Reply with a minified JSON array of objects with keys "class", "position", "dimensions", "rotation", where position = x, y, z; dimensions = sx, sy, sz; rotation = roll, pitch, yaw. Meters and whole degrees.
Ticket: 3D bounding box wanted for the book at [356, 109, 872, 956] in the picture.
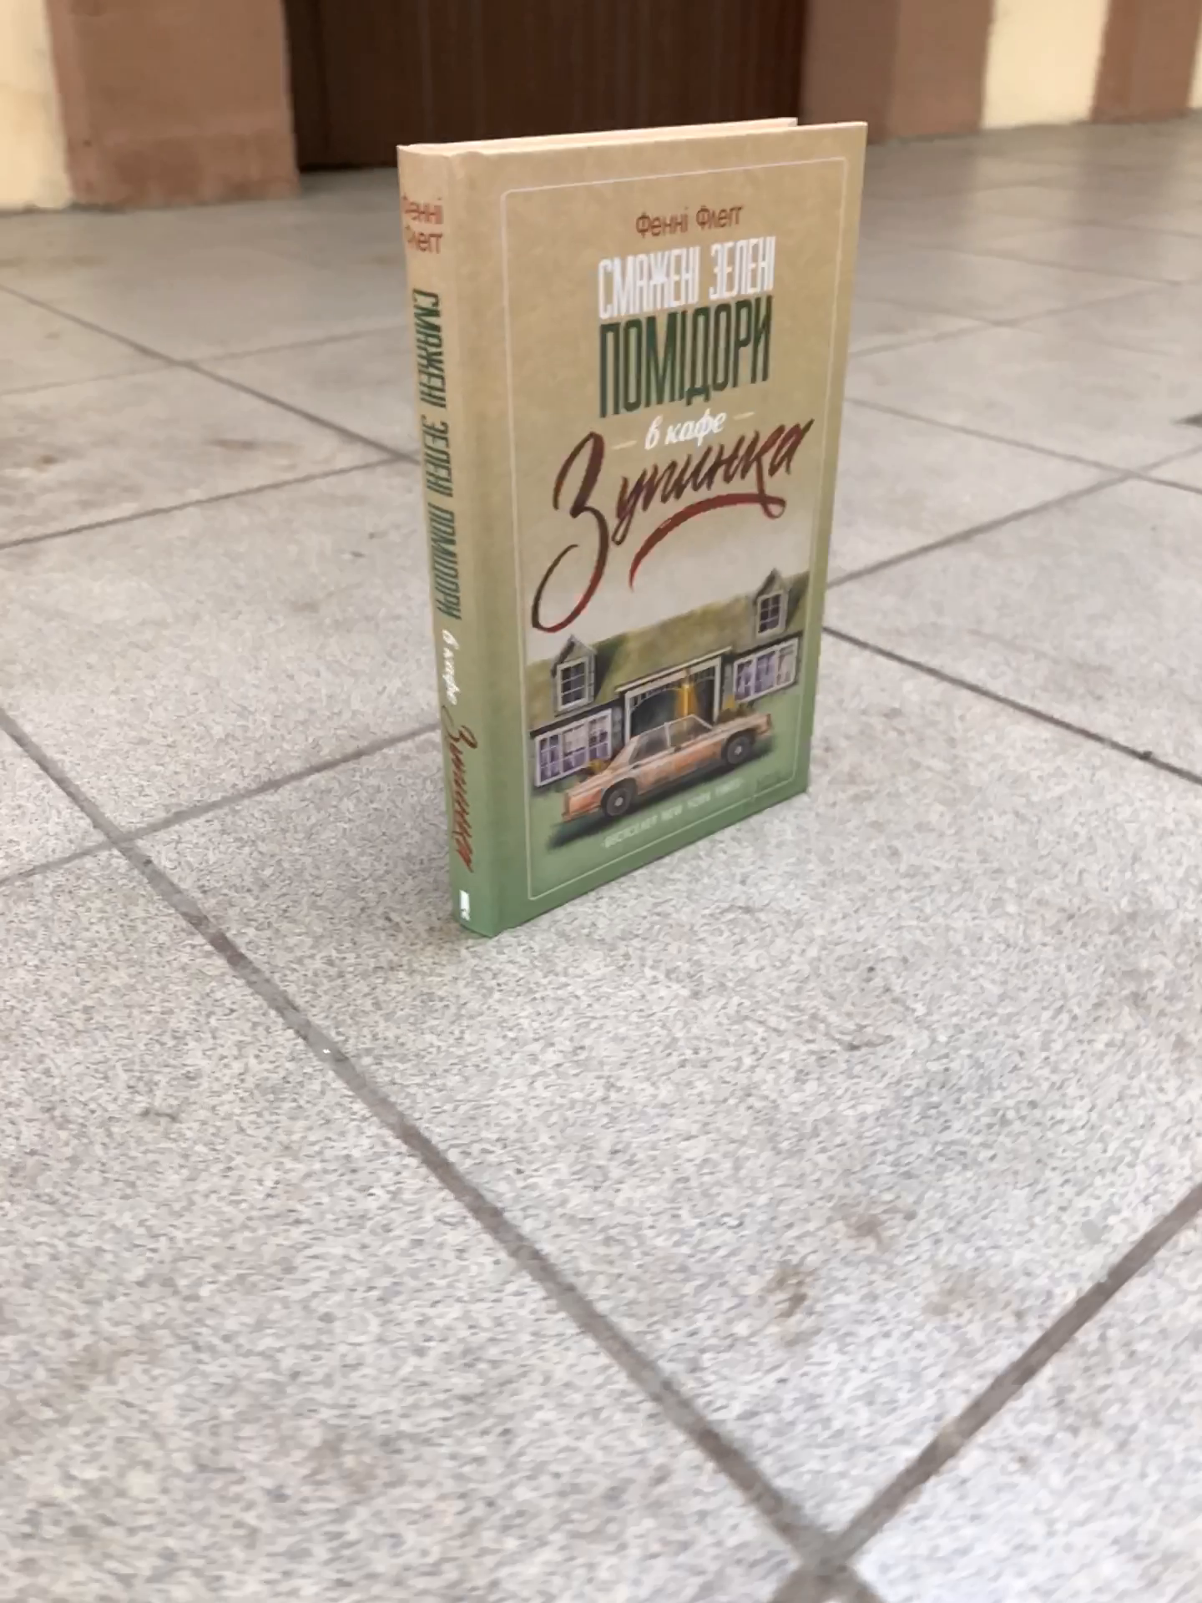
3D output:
[{"class":"book","position":[0.010,-0.075,0.376],"dimensions":[0.140,0.209,0.030],"rotation":[-23,37,-34]}]
